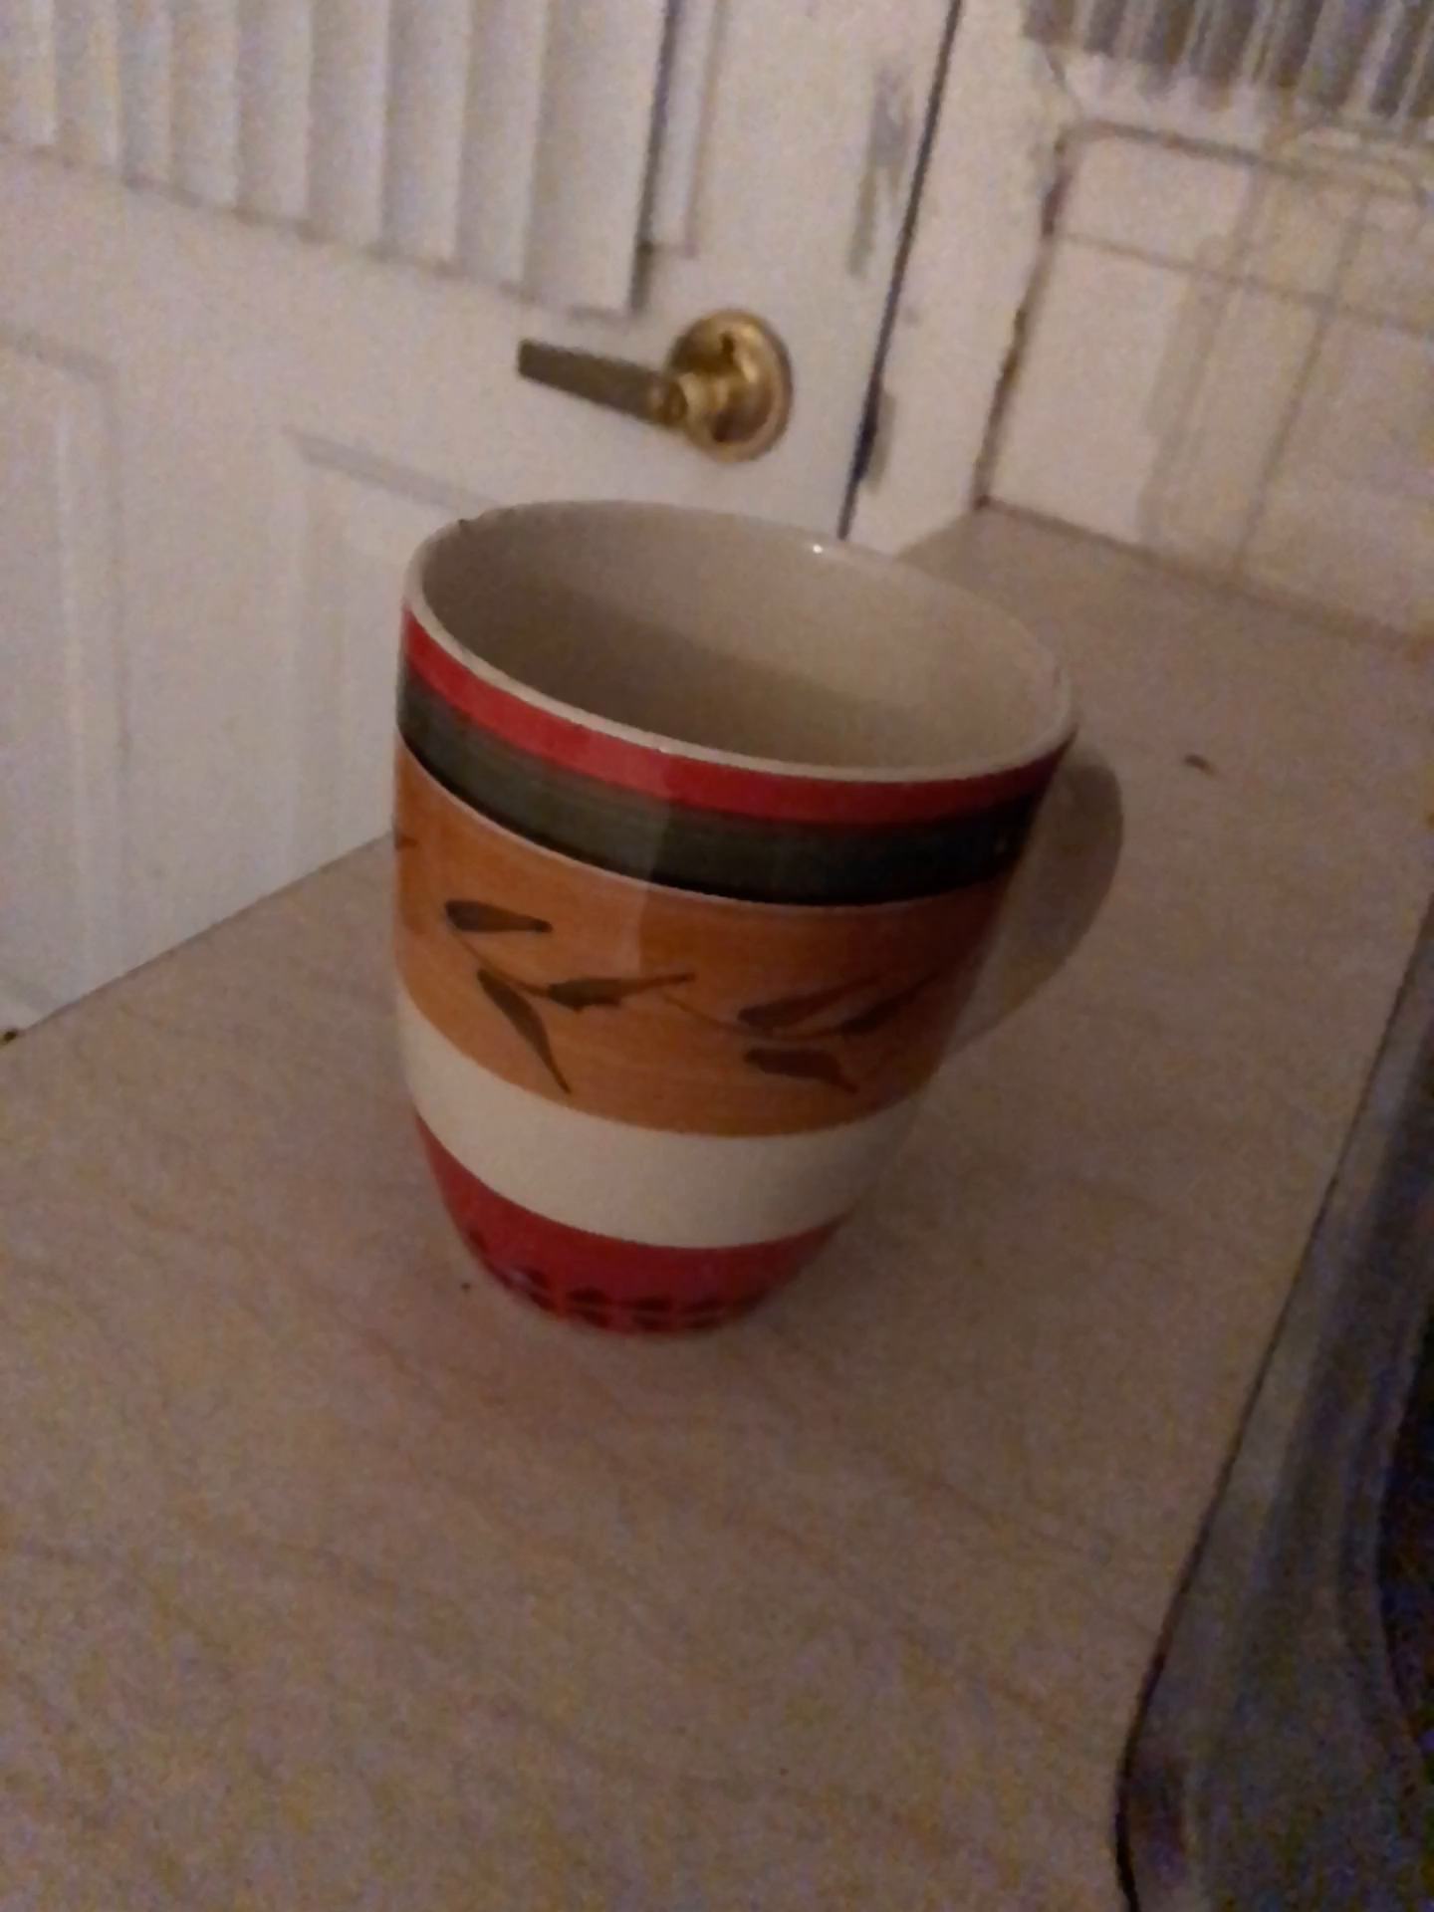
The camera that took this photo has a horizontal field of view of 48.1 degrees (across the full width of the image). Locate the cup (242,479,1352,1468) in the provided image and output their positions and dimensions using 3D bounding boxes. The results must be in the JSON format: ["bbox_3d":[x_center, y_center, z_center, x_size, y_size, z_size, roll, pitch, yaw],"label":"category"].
[{"bbox_3d":[0.007,-0.010,0.278,0.143,0.109,0.100,-13,39,-34],"label":"cup"}]
